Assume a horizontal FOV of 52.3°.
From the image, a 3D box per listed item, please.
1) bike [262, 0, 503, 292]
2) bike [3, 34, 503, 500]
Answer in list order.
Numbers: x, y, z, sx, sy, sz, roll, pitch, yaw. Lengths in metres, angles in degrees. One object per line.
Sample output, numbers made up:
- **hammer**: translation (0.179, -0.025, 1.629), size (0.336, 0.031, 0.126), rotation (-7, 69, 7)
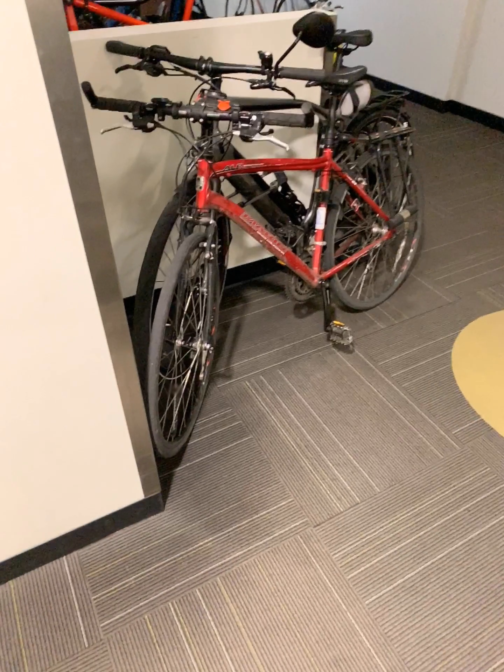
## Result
- **bike**: translation (0.516, -0.871, 2.263), size (0.694, 1.148, 0.727), rotation (28, 42, 30)
- **bike**: translation (0.186, -0.420, 1.740), size (0.605, 0.927, 1.615), rotation (27, 43, 28)
